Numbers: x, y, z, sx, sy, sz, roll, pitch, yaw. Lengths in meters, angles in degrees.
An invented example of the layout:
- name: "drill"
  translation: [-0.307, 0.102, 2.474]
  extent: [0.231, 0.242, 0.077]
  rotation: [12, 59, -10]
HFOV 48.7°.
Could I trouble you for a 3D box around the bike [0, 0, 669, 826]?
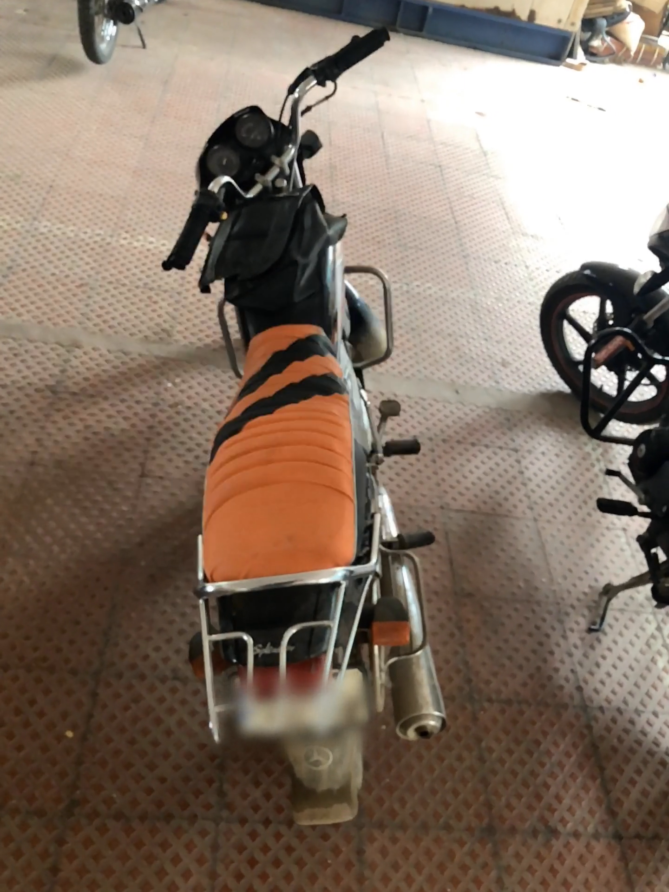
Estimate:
- name: "bike"
  translation: [-0.208, -0.130, 1.569]
  extent: [0.688, 1.124, 1.409]
  rotation: [3, 45, -14]
